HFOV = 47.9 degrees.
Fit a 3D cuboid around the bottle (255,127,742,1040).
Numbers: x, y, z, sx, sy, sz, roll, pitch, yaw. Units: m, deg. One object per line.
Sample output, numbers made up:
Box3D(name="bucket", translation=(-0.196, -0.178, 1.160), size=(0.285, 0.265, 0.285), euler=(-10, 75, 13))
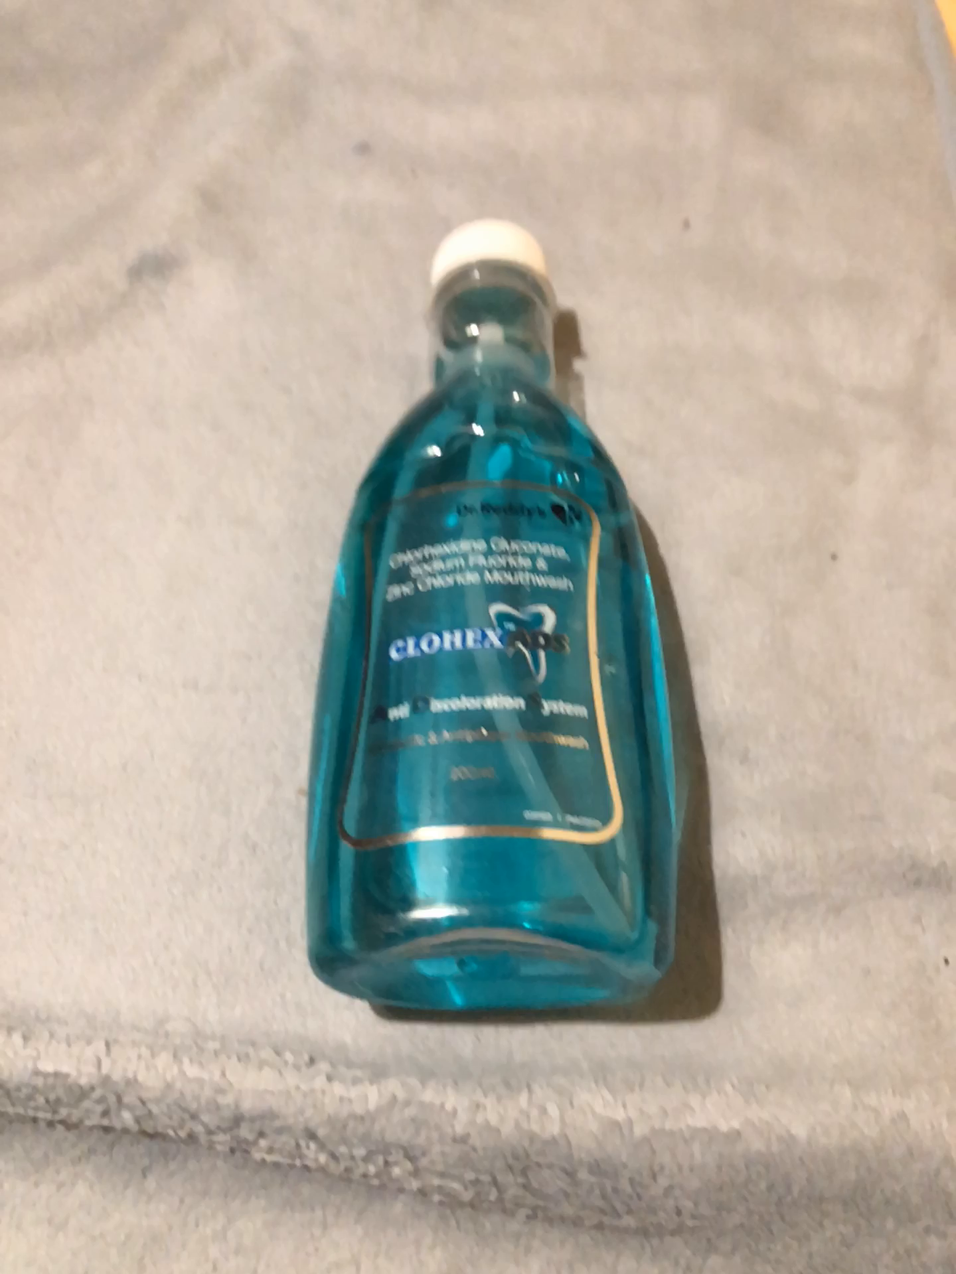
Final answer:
Box3D(name="bottle", translation=(0.003, -0.029, 0.230), size=(0.070, 0.040, 0.210), euler=(-2, 56, 2))
